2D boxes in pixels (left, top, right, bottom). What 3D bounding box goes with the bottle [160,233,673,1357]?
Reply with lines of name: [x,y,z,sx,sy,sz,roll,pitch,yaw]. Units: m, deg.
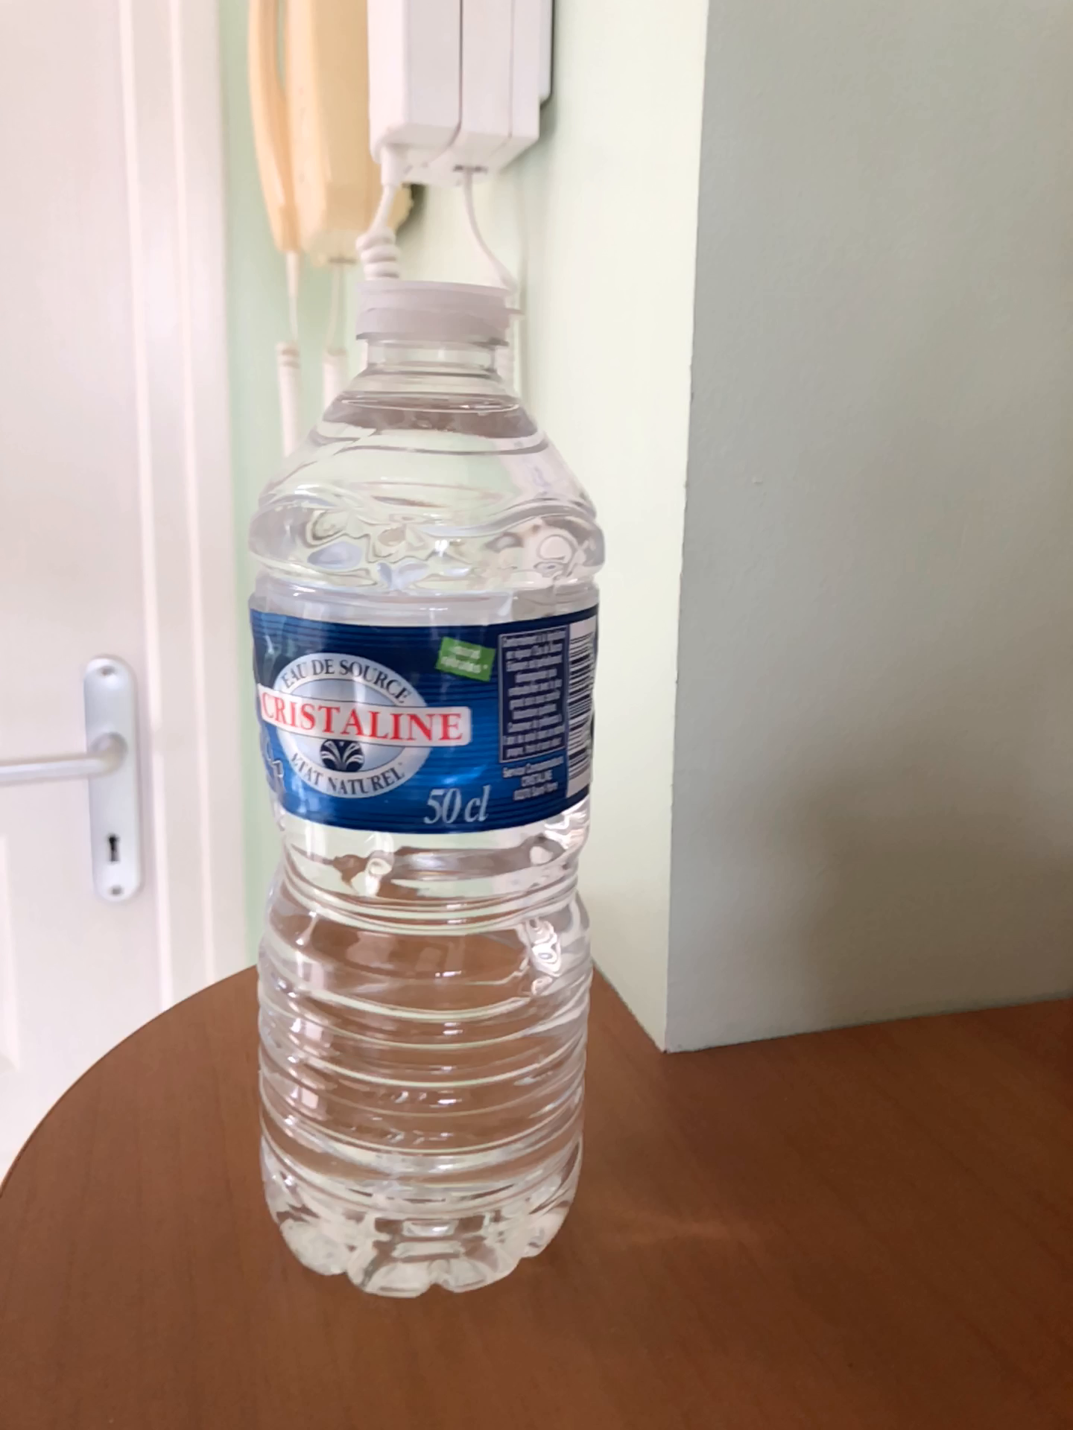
bottle: [-0.020,0.012,0.238,0.070,0.189,0.070,1,12,0]
